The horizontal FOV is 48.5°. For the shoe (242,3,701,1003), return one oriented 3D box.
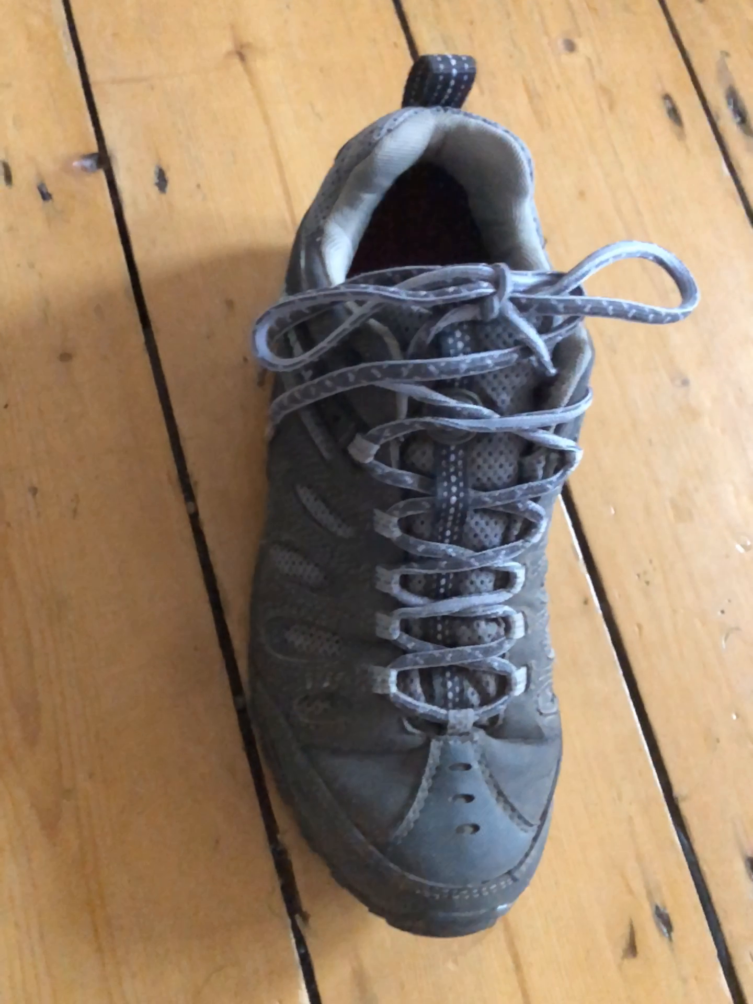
[{"bbox_3d":[0.011,-0.002,0.280,0.100,0.110,0.280,0,75,-12],"label":"shoe"}]
